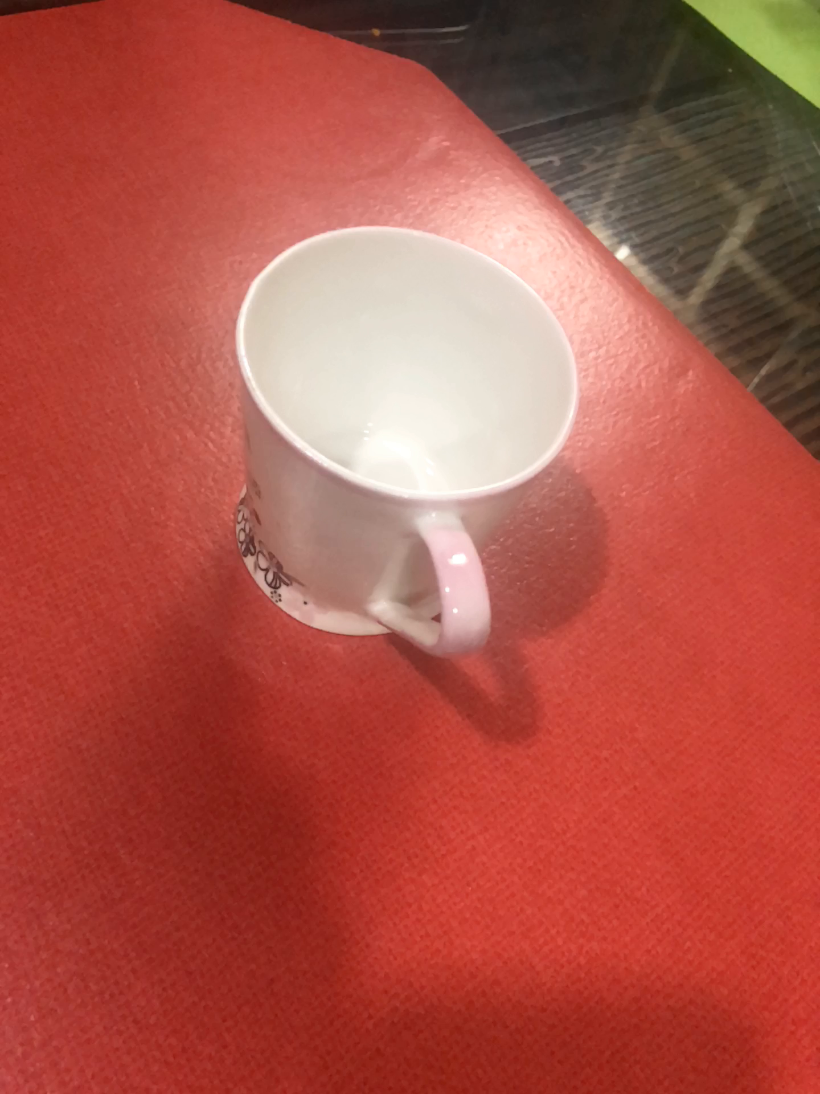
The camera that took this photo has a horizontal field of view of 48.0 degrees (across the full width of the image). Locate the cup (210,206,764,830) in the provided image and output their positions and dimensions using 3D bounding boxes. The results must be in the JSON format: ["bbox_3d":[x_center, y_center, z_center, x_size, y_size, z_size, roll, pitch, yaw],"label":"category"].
[{"bbox_3d":[0.005,-0.007,0.207,0.070,0.080,0.100,-14,63,-22],"label":"cup"}]
